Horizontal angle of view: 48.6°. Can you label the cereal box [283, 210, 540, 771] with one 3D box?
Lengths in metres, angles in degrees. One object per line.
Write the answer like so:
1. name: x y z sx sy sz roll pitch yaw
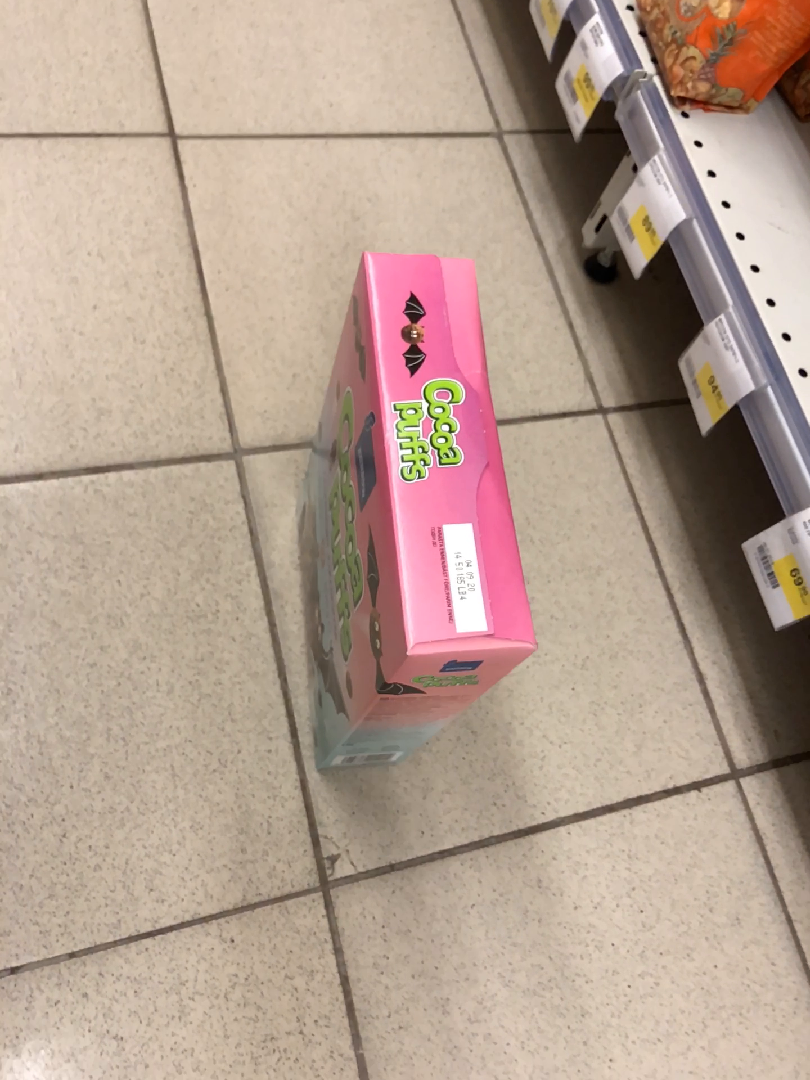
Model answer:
1. cereal box: -0.018 -0.002 0.496 0.060 0.269 0.210 -1 68 -14
